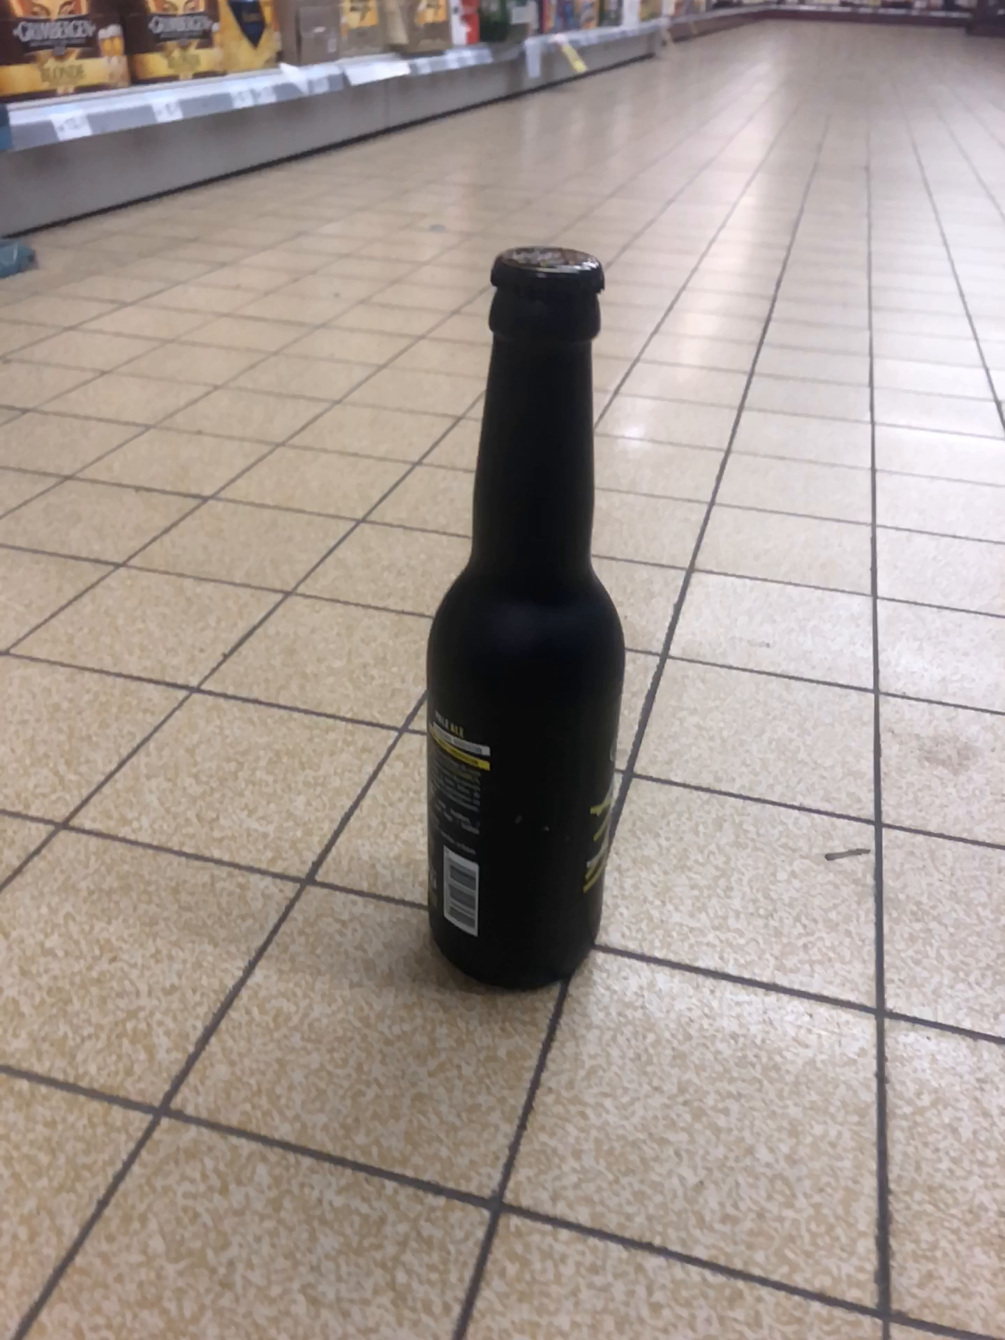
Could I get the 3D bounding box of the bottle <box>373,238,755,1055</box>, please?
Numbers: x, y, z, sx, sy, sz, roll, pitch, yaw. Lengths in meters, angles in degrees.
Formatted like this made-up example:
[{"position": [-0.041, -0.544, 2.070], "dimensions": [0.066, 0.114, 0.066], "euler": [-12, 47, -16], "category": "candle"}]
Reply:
[{"position": [0.008, 0.000, 0.316], "dimensions": [0.070, 0.219, 0.070], "euler": [1, 31, -1], "category": "bottle"}]
